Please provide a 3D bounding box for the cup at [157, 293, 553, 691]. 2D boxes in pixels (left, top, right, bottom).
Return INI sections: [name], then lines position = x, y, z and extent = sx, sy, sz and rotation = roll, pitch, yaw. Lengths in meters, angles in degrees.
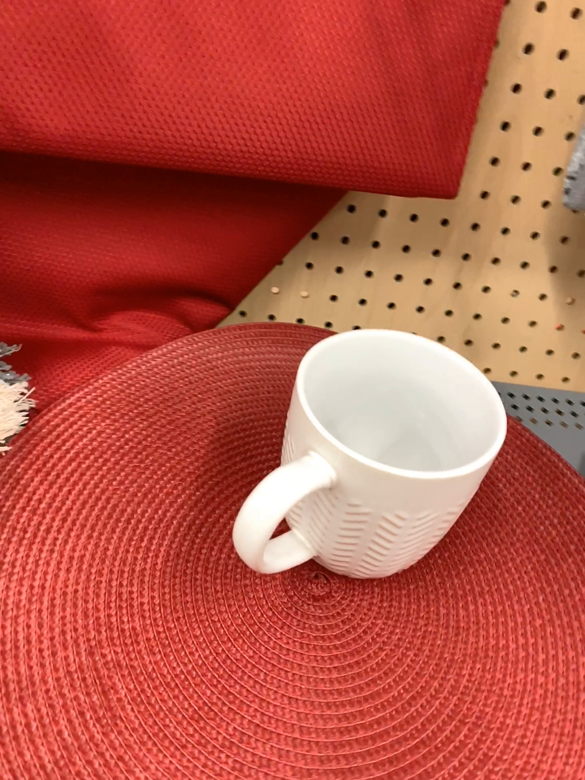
[cup]
position = 0.030, 0.032, 0.280
extent = 0.140, 0.090, 0.100
rotation = -28, 43, -36
